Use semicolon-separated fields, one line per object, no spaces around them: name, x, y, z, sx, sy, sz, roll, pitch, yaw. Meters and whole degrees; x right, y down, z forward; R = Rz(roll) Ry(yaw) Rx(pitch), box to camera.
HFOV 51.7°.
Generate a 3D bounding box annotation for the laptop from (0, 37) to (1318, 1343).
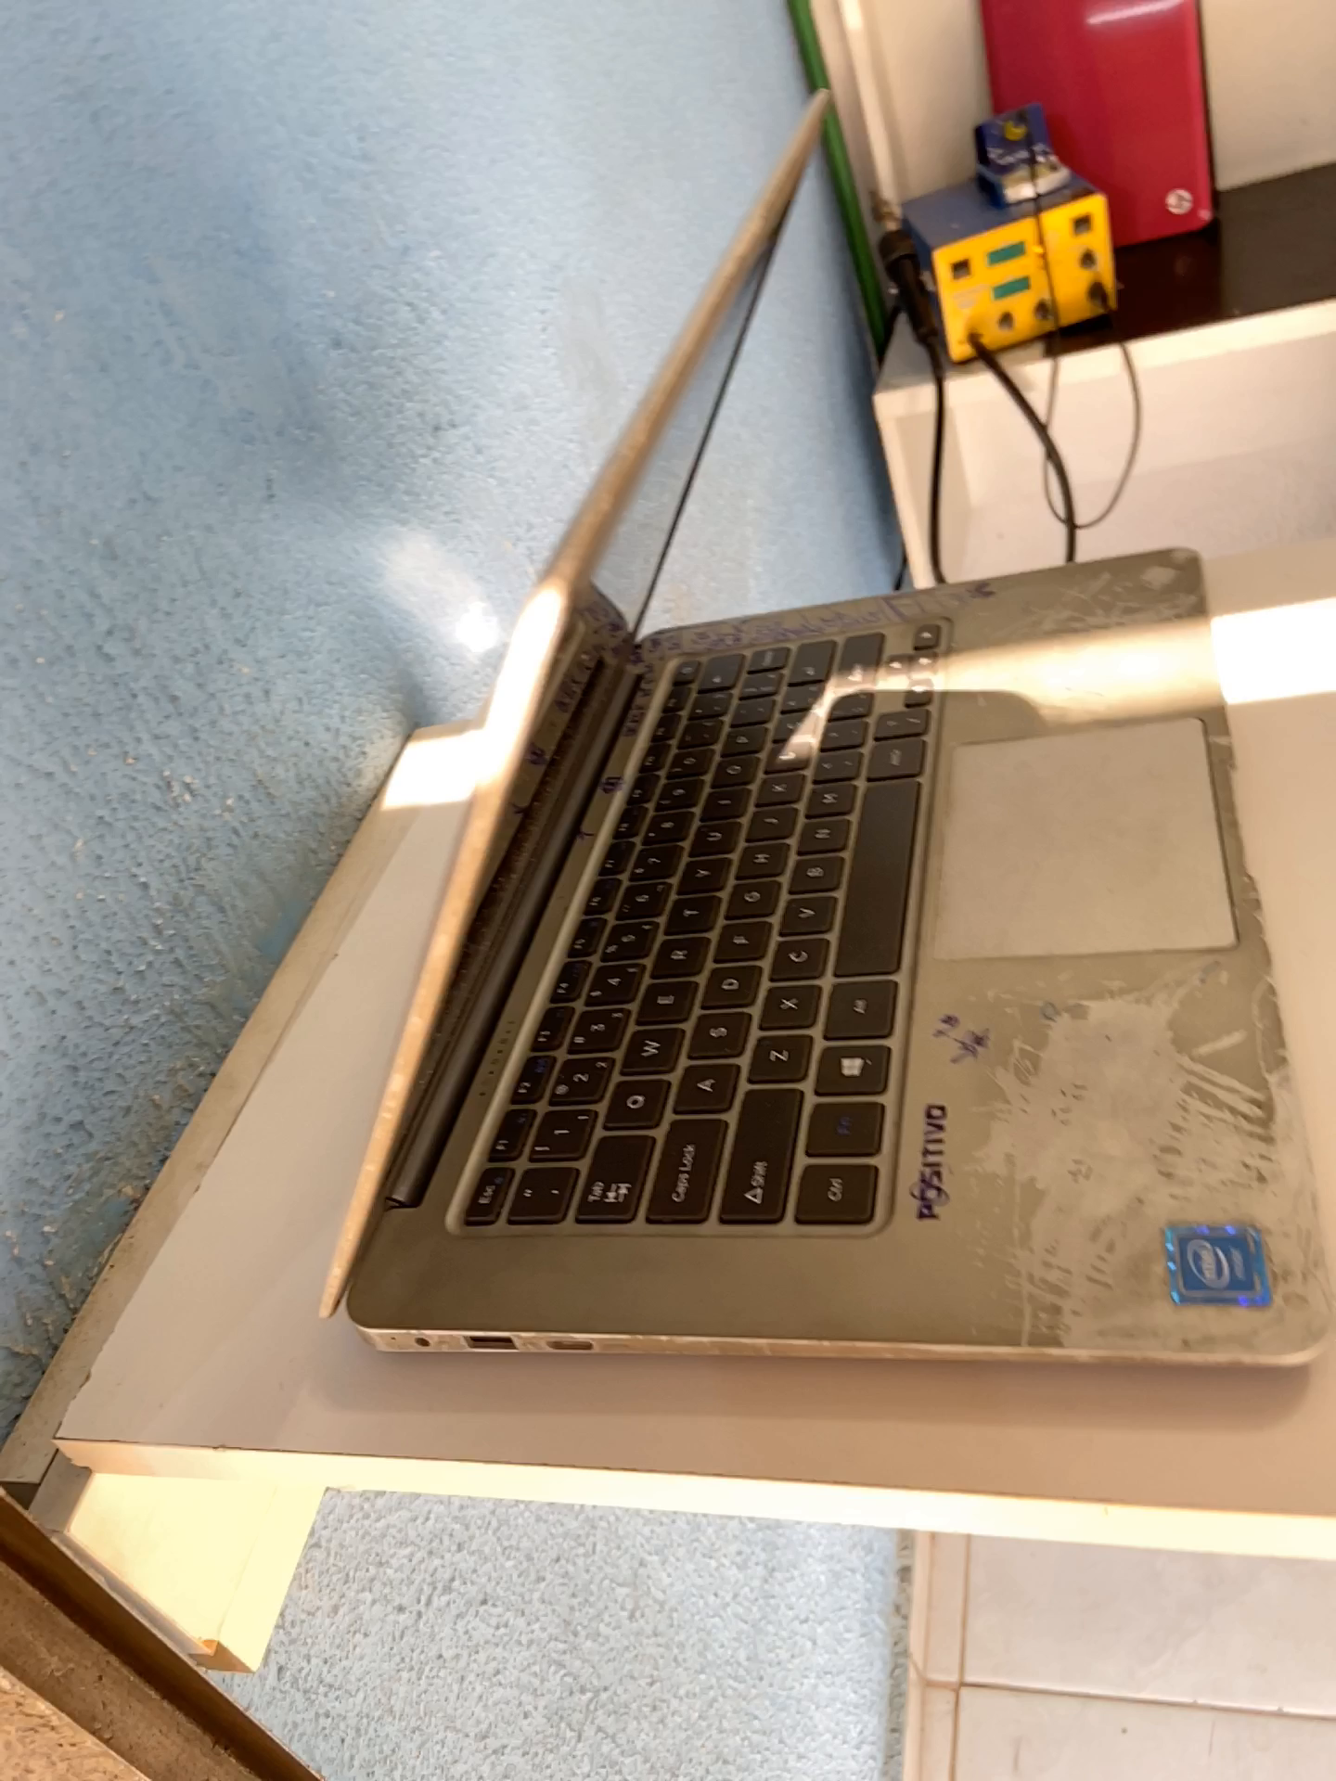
laptop;0.030;-0.075;0.368;0.211;0.167;0.328;-6;37;20
